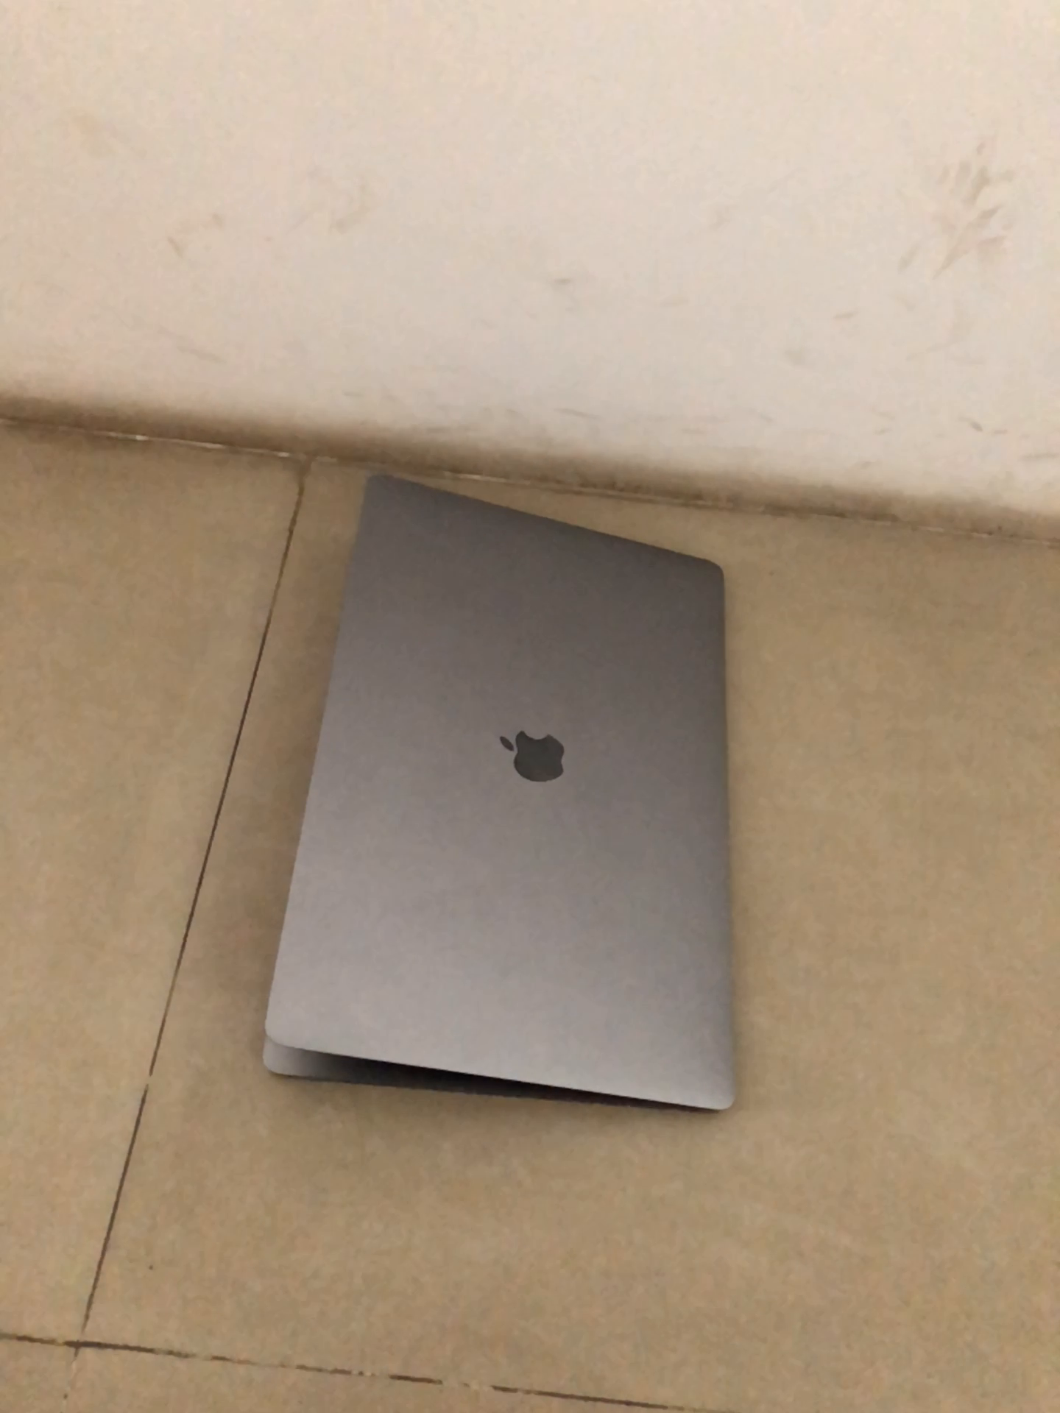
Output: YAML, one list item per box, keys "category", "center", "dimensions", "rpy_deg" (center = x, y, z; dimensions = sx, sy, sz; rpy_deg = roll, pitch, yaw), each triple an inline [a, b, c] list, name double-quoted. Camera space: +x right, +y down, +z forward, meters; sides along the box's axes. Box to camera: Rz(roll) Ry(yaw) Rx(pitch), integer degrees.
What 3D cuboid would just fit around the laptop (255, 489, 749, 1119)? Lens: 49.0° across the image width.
- category: "laptop"
  center: [0.000, 0.038, 0.652]
  dimensions: [0.232, 0.057, 0.336]
  rpy_deg: [6, 59, 0]
